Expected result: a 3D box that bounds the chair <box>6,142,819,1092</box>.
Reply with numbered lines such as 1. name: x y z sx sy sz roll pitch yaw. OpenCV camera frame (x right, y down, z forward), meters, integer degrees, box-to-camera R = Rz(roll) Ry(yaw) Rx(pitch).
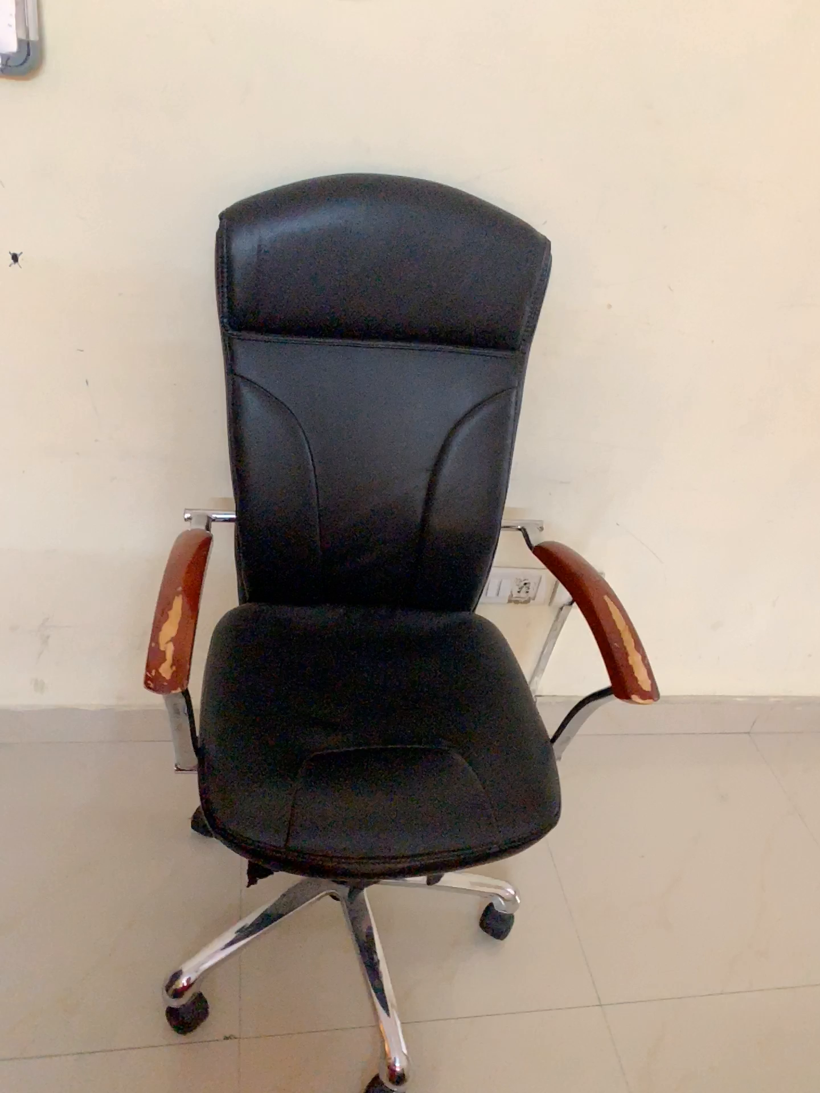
1. chair: -0.035 0.145 1.168 0.700 1.081 0.756 3 35 -12
